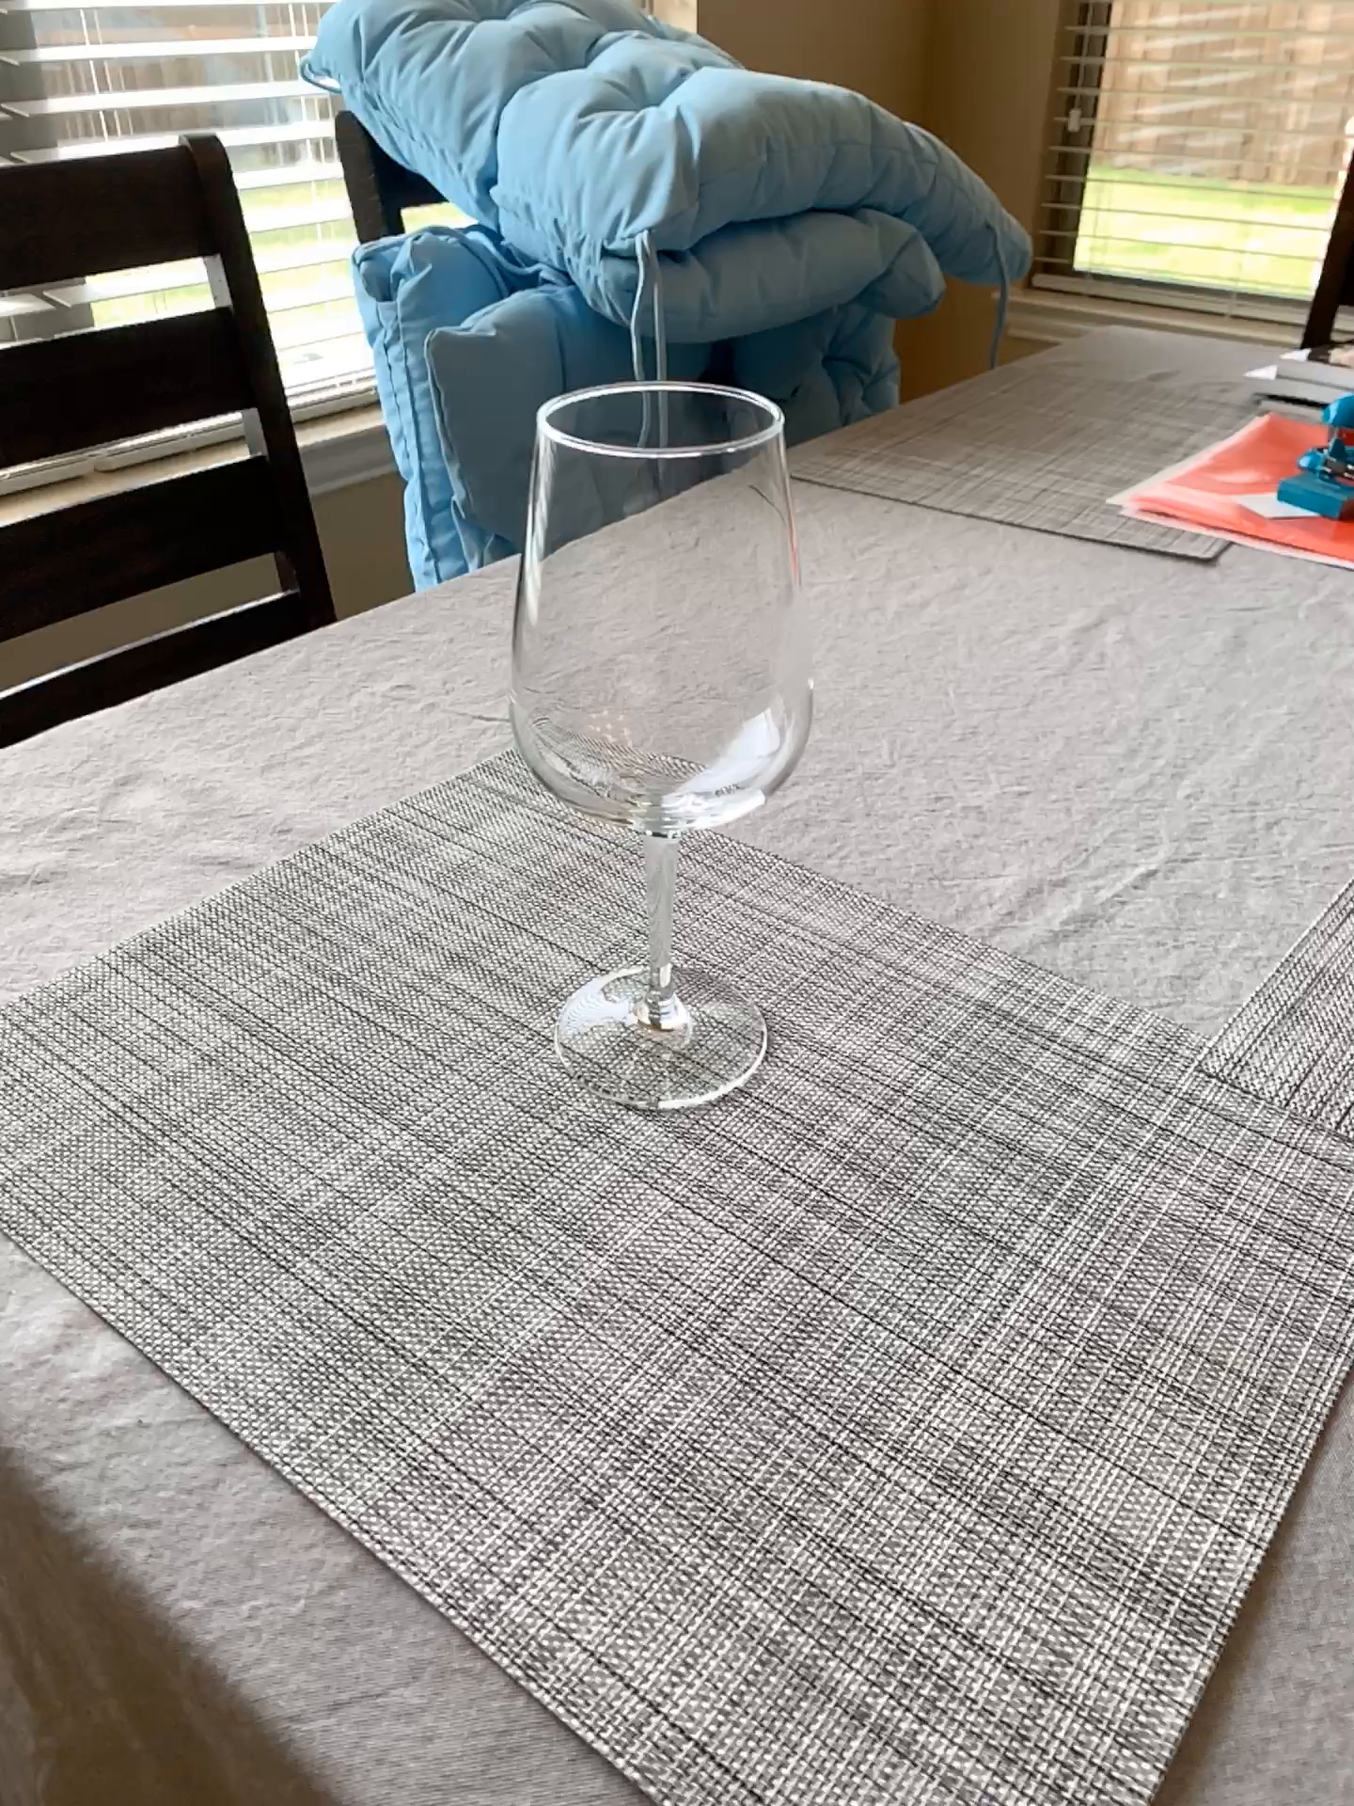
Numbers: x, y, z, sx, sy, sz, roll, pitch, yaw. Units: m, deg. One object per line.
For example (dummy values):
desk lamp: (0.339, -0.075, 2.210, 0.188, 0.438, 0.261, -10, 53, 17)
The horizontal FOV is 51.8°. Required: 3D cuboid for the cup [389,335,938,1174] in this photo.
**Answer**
cup: (-0.005, -0.046, 0.432, 0.107, 0.214, 0.100, 1, 34, -1)
